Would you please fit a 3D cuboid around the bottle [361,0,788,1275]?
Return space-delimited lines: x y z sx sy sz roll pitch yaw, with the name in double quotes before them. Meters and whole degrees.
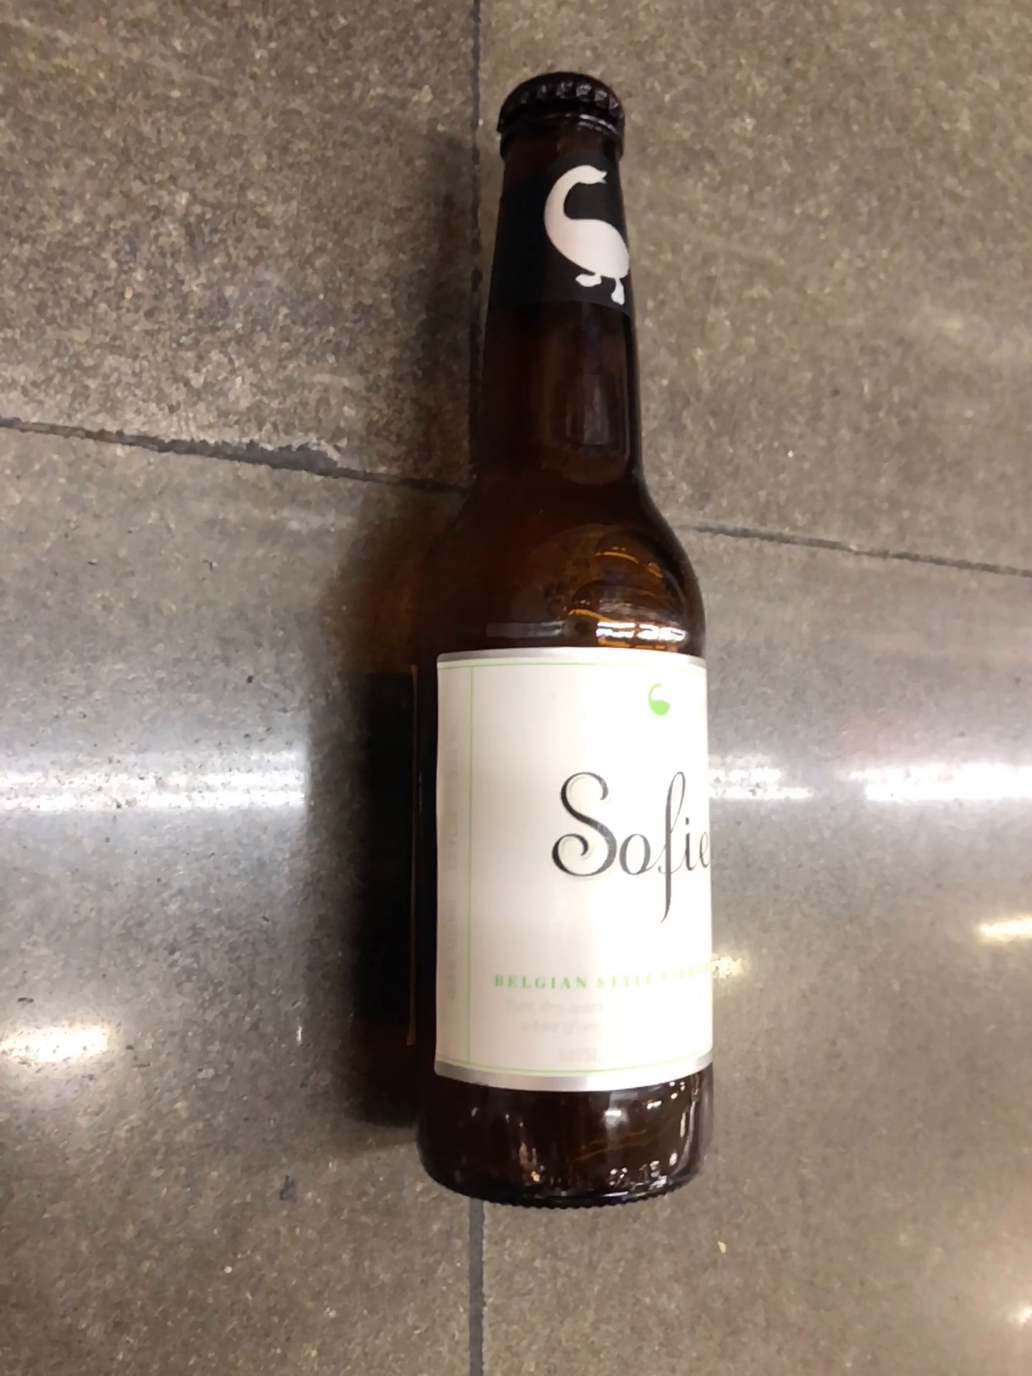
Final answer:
"bottle" 0.011 -0.020 0.236 0.070 0.040 0.240 1 85 -32
